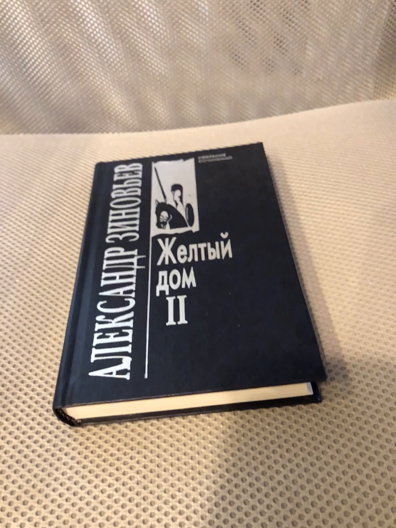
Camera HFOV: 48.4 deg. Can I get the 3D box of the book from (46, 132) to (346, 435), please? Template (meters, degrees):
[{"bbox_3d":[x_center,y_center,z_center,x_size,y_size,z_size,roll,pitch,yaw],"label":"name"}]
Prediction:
[{"bbox_3d":[-0.006,-0.007,0.287,0.140,0.030,0.212,-6,48,2],"label":"book"}]
